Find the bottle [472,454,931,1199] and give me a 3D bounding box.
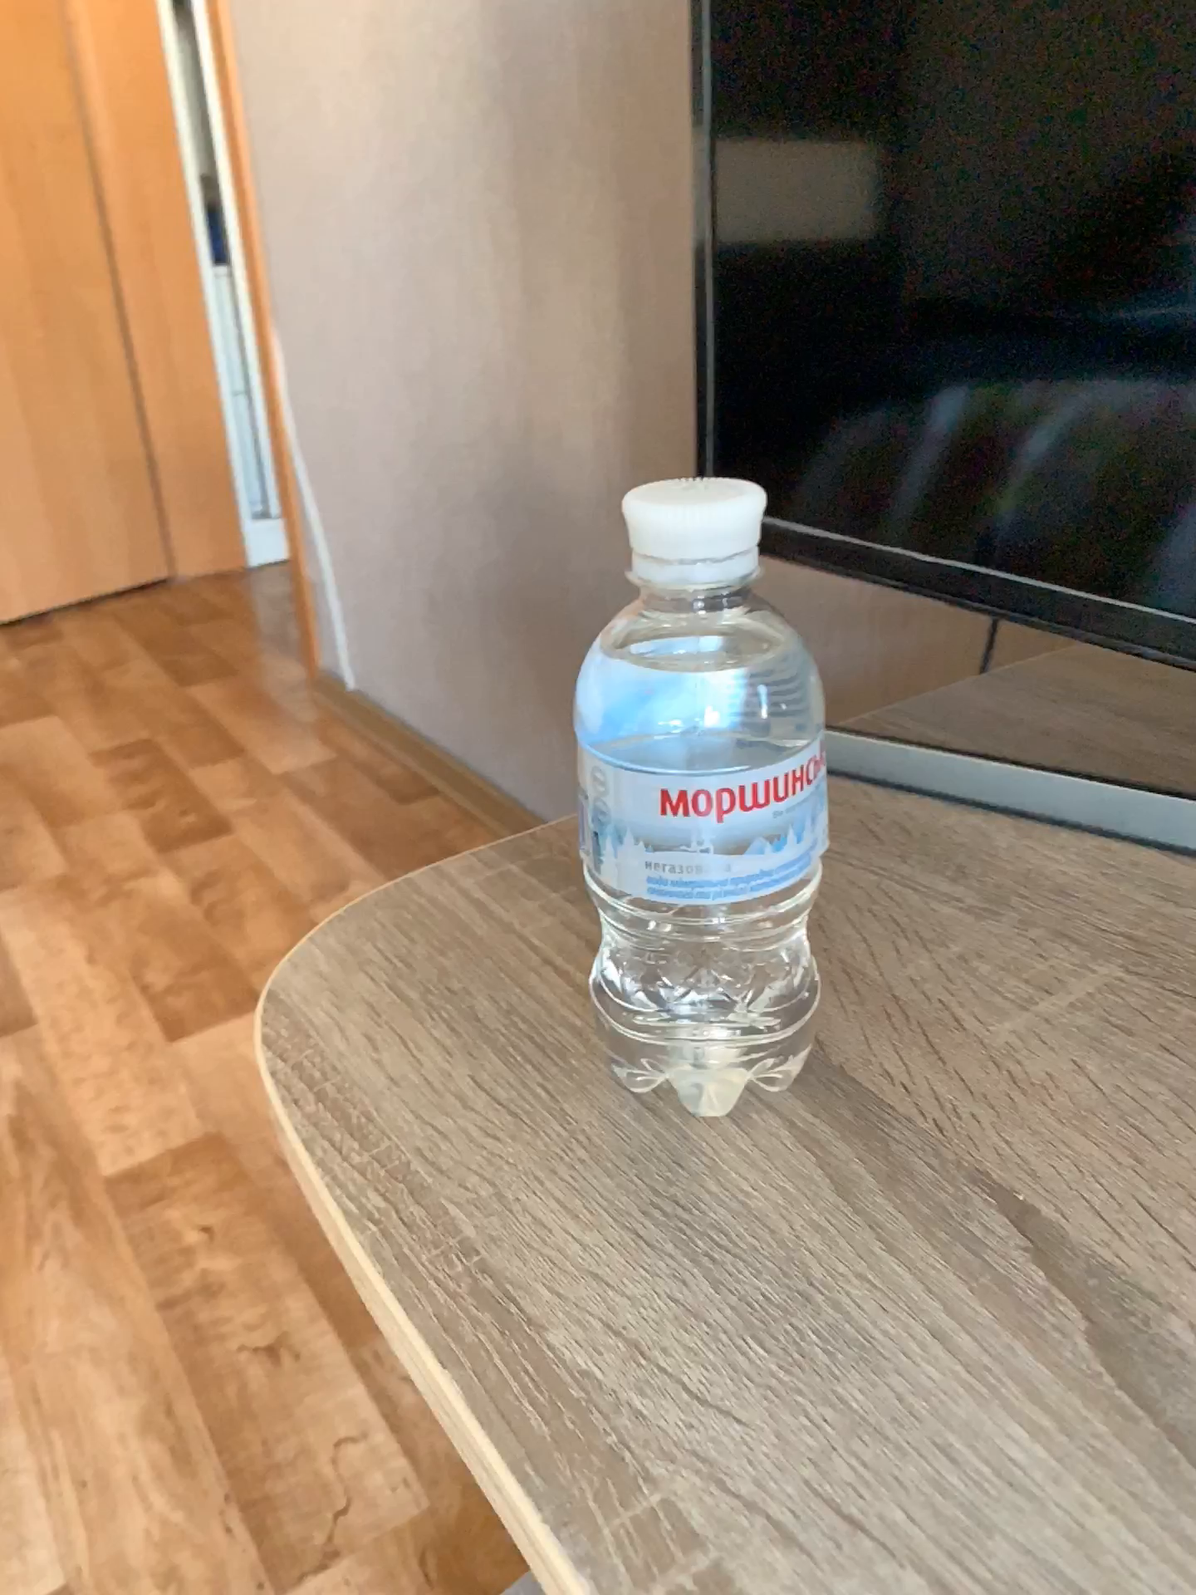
[{"bbox_3d":[0.023,0.004,0.295,0.070,0.149,0.070,-2,25,1],"label":"bottle"}]
